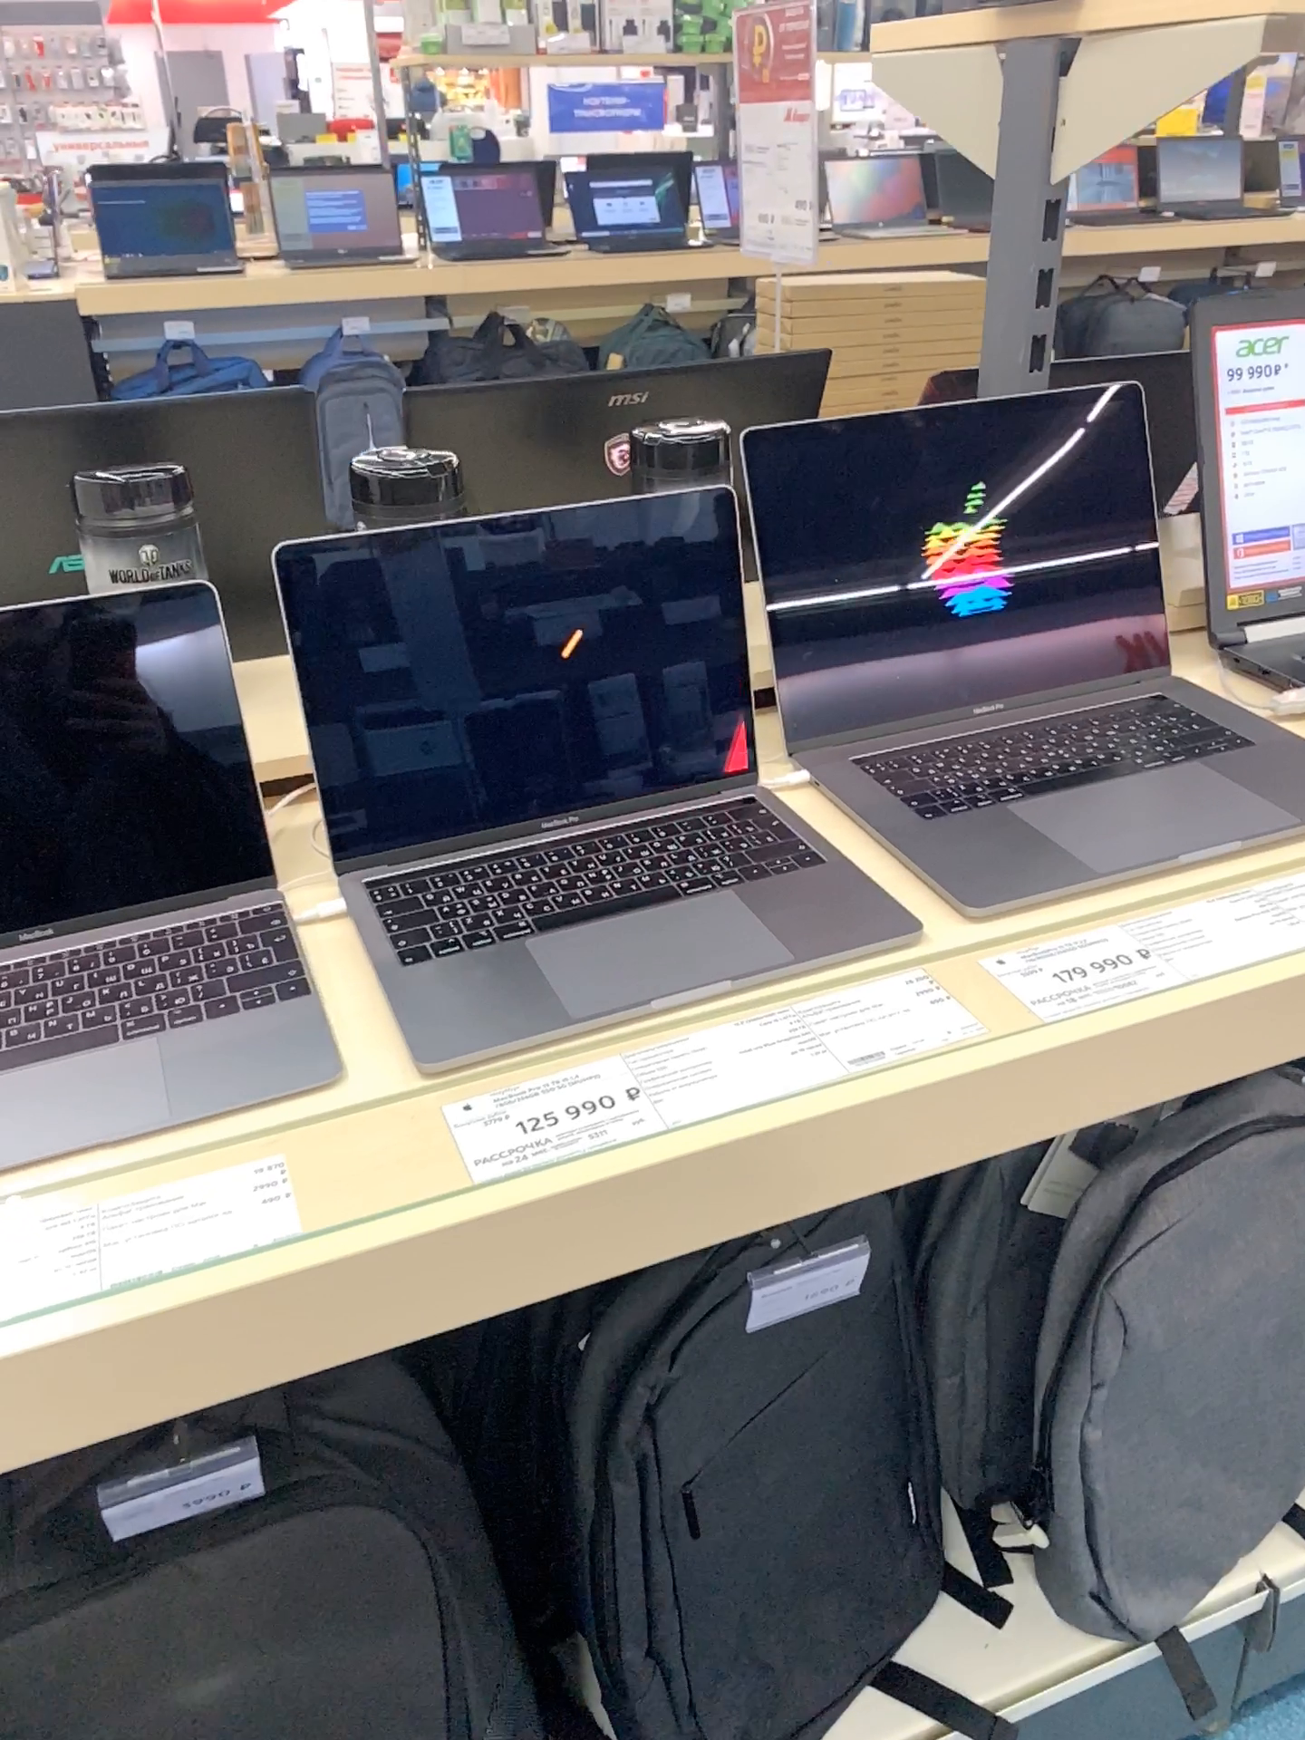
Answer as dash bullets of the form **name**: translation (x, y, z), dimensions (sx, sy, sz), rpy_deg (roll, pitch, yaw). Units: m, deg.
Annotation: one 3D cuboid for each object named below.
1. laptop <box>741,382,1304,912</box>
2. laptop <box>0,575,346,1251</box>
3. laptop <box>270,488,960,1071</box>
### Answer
- **laptop**: translation (0.288, -0.180, 0.918), dimensions (0.346, 0.210, 0.328), rpy_deg (-13, 31, -18)
- **laptop**: translation (-0.336, -0.006, 0.686), dimensions (0.280, 0.172, 0.267), rpy_deg (-13, 33, -20)
- **laptop**: translation (-0.032, -0.076, 0.776), dimensions (0.299, 0.195, 0.261), rpy_deg (-13, 32, -20)
